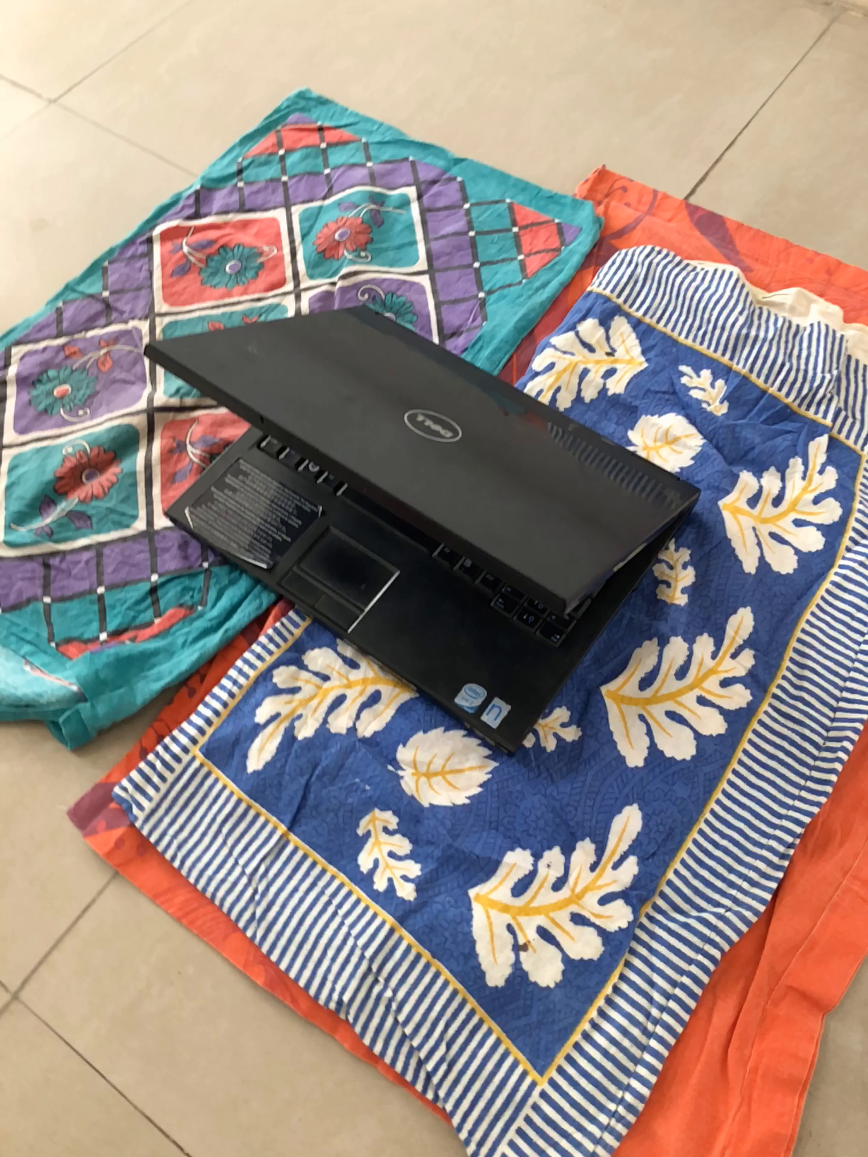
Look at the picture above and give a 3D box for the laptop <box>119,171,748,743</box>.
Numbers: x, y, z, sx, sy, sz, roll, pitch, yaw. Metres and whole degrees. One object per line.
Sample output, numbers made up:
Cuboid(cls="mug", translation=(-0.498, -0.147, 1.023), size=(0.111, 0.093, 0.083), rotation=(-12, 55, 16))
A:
Cuboid(cls="laptop", translation=(0.003, -0.090, 0.632), size=(0.299, 0.143, 0.235), rotation=(32, 65, 17))
